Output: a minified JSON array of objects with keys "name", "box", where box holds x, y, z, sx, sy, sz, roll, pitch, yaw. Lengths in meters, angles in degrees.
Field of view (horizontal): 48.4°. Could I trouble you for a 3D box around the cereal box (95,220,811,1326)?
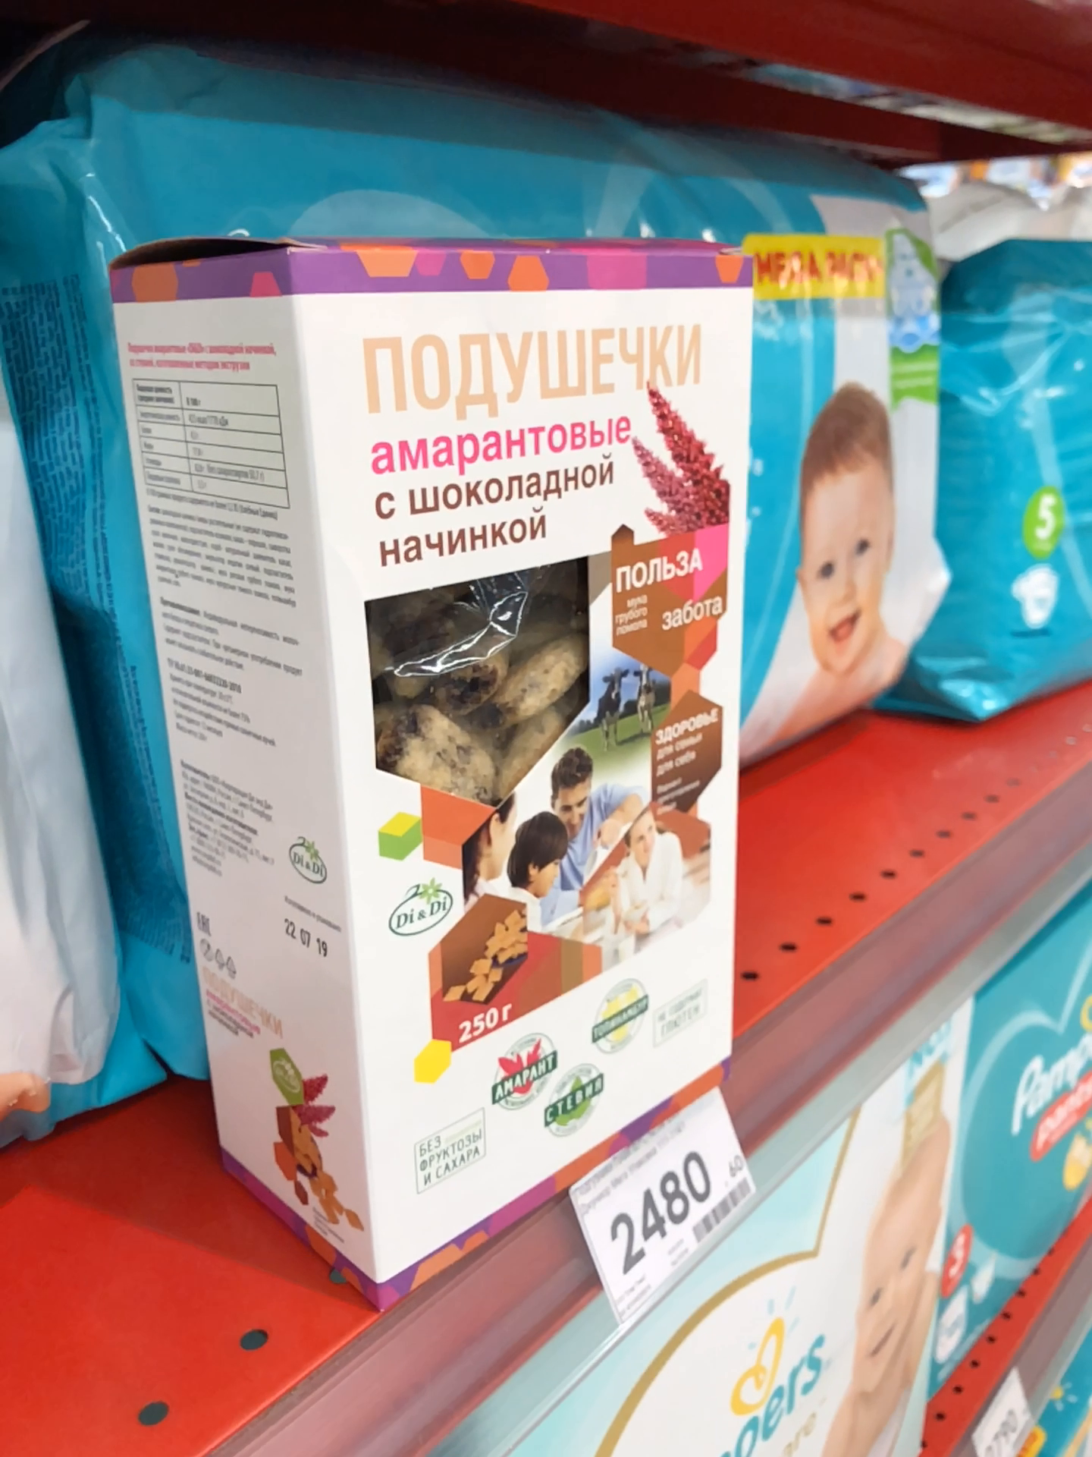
[{"name":"cereal box","box":[-0.012,-0.001,0.295,0.140,0.219,0.070,-18,25,-40]}]
